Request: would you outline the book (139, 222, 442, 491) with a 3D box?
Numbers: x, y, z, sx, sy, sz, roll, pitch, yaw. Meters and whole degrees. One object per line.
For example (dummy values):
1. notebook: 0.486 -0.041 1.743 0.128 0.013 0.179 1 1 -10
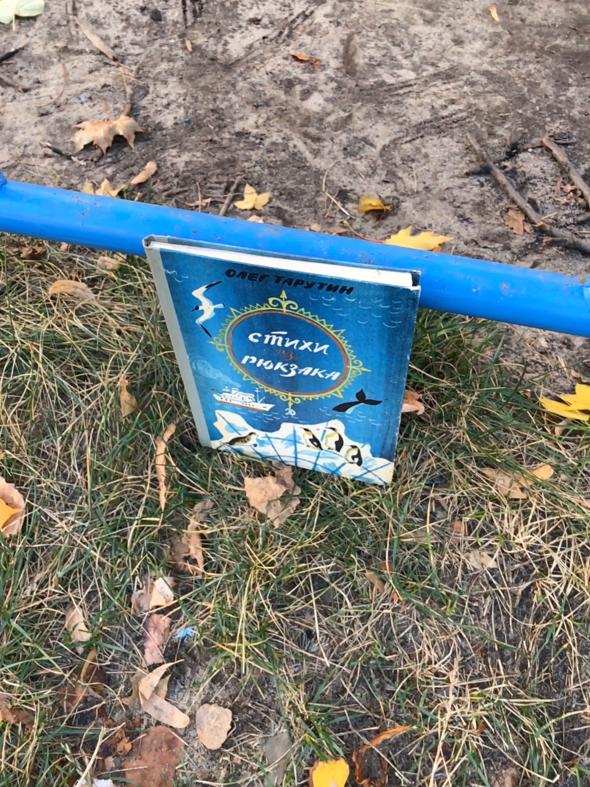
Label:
1. book: -0.006 -0.014 0.465 0.179 0.209 0.023 10 50 7
